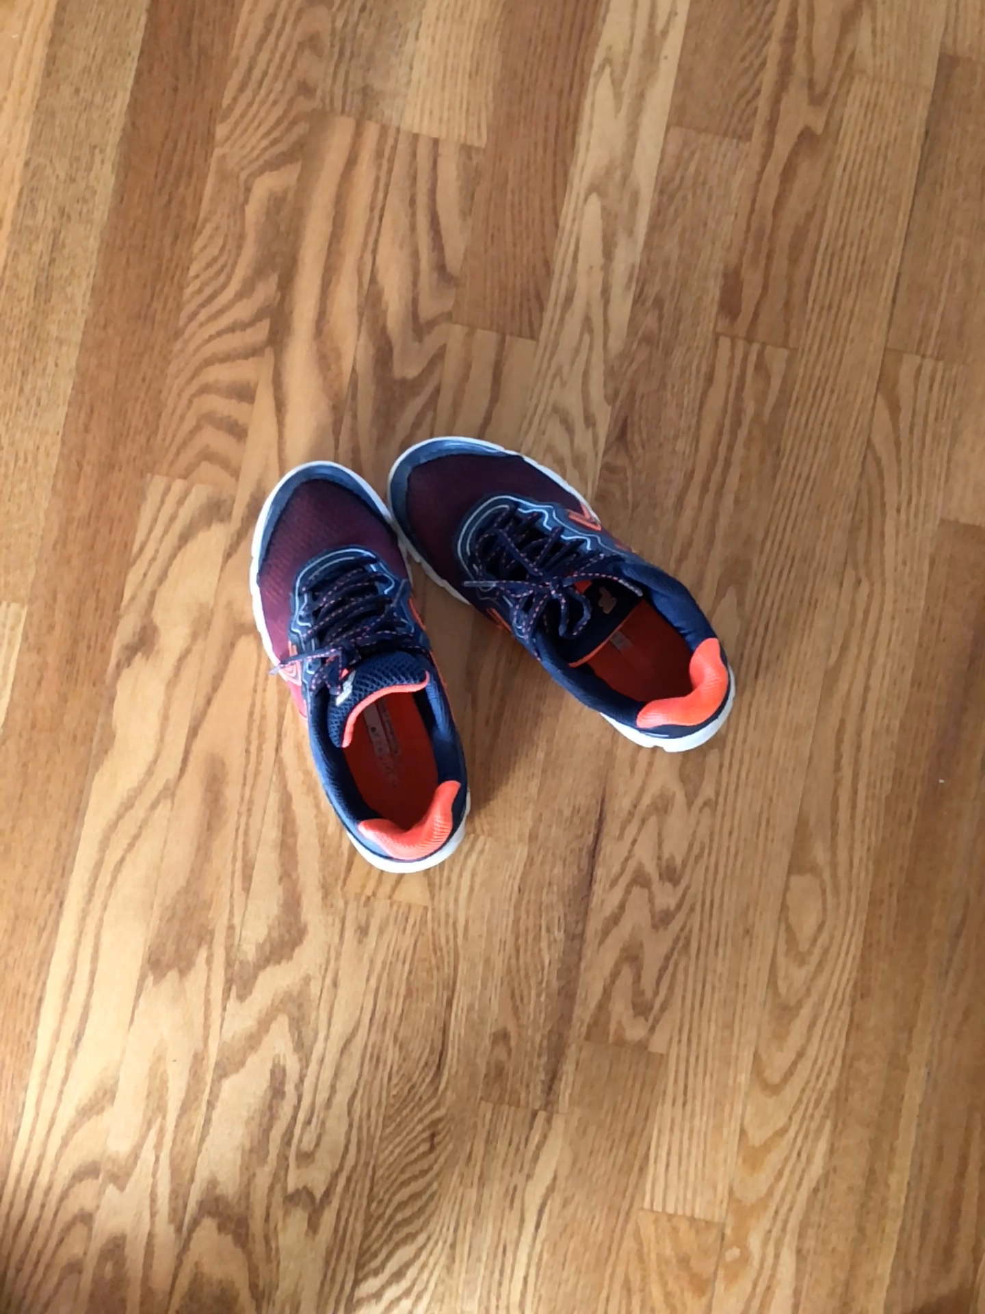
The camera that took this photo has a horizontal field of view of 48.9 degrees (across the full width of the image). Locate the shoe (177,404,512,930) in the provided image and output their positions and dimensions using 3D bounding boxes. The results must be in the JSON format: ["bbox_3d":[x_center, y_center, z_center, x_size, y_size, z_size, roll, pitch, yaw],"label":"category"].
[{"bbox_3d":[-0.084,0.006,0.651,0.108,0.110,0.270,-18,89,-4],"label":"shoe"}]

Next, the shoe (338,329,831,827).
[{"bbox_3d":[0.050,-0.042,0.660,0.116,0.110,0.277,-44,90,-4],"label":"shoe"}]
